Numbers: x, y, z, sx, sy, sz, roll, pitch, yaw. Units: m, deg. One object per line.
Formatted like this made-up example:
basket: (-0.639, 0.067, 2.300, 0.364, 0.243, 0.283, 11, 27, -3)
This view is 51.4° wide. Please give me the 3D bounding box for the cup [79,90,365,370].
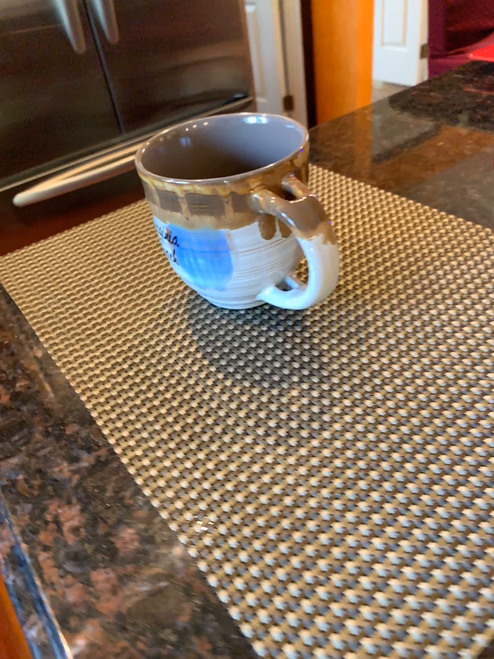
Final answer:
cup: (-0.018, -0.071, 0.310, 0.100, 0.090, 0.151, -26, 42, -18)
